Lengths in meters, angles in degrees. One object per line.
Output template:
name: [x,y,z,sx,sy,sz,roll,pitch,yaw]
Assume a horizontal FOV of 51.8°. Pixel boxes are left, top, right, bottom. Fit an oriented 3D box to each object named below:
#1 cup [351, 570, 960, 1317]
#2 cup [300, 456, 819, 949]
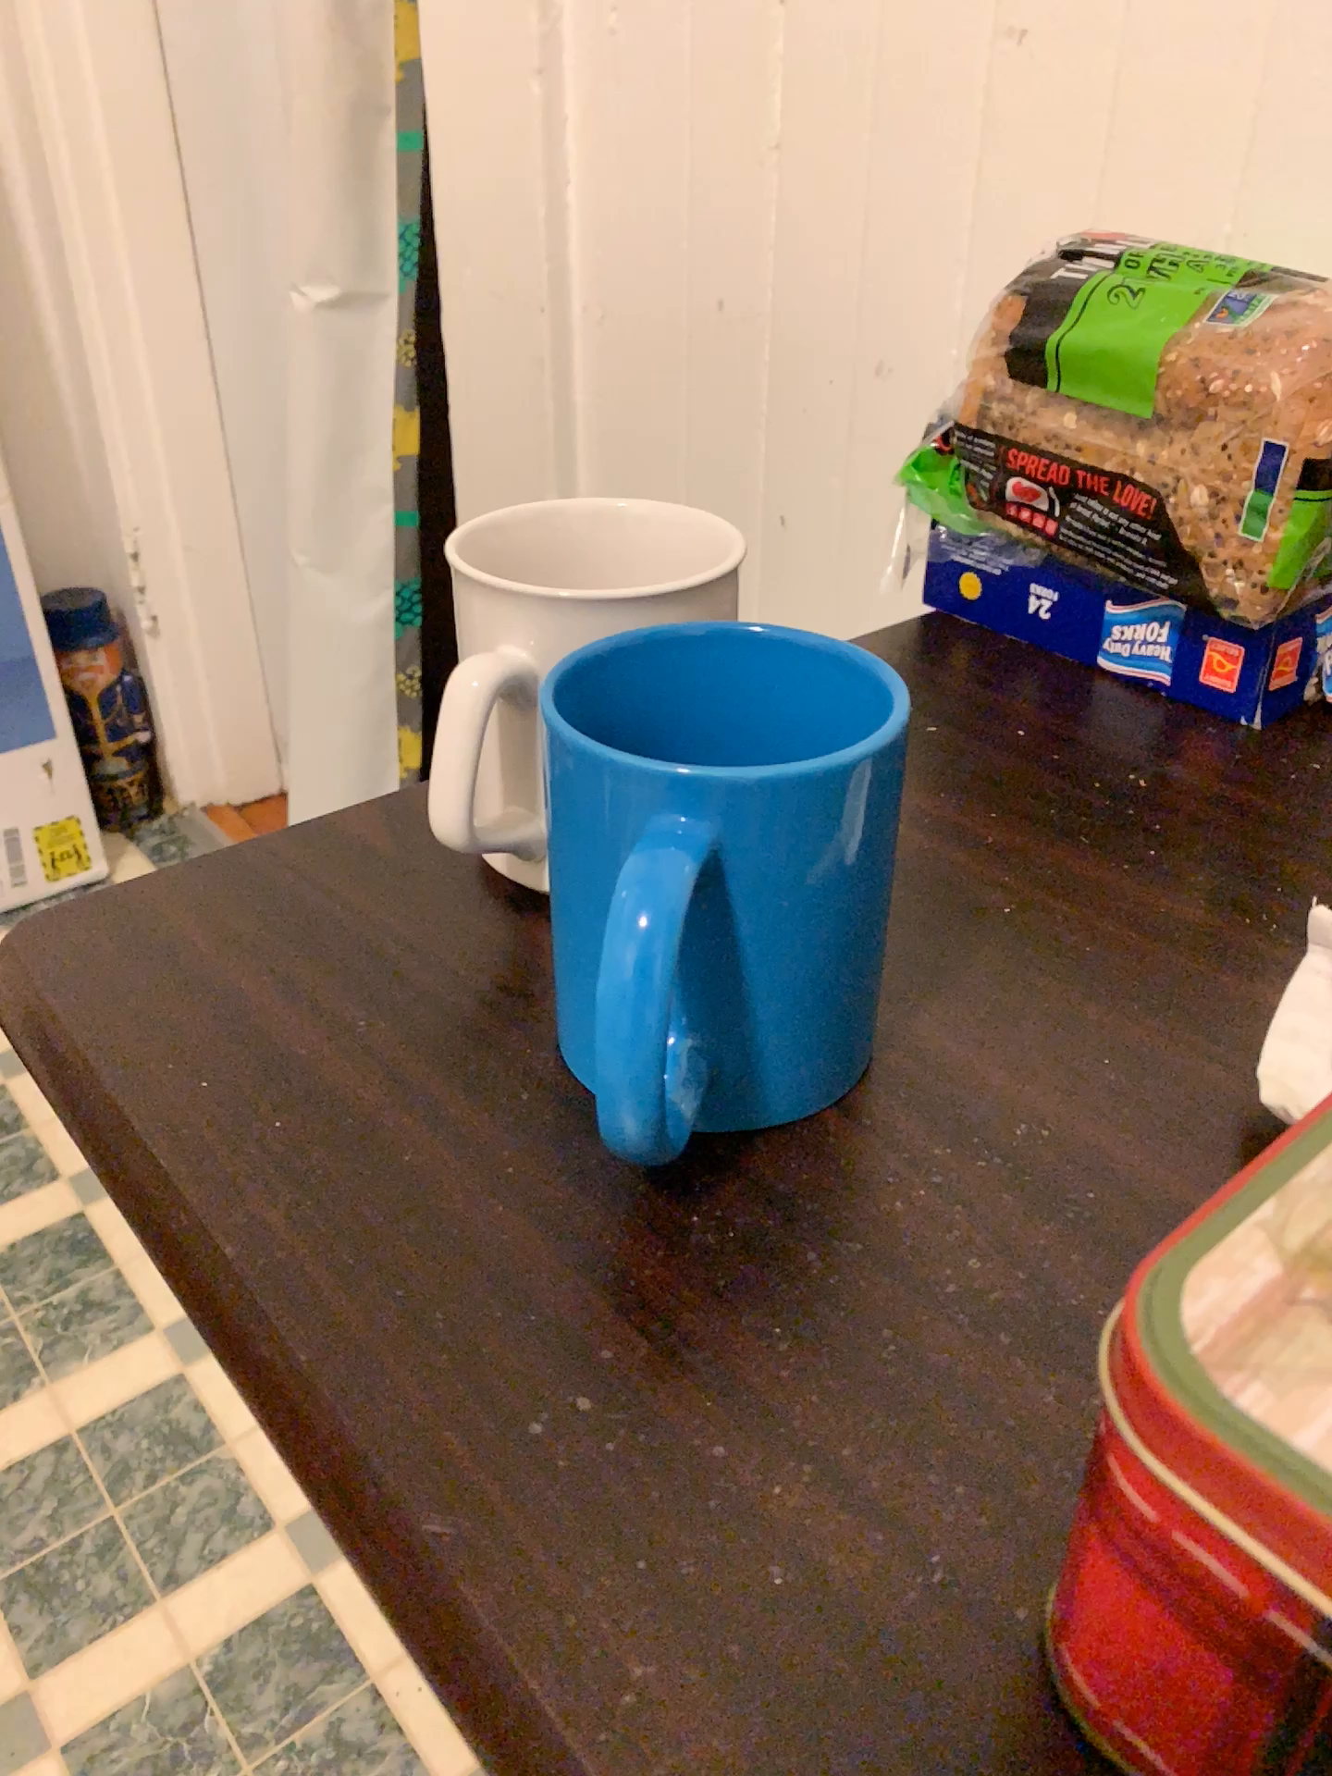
cup: [0.007,0.002,0.321,0.090,0.099,0.141,10,34,16]
cup: [-0.026,-0.062,0.404,0.090,0.089,0.120,19,37,27]
